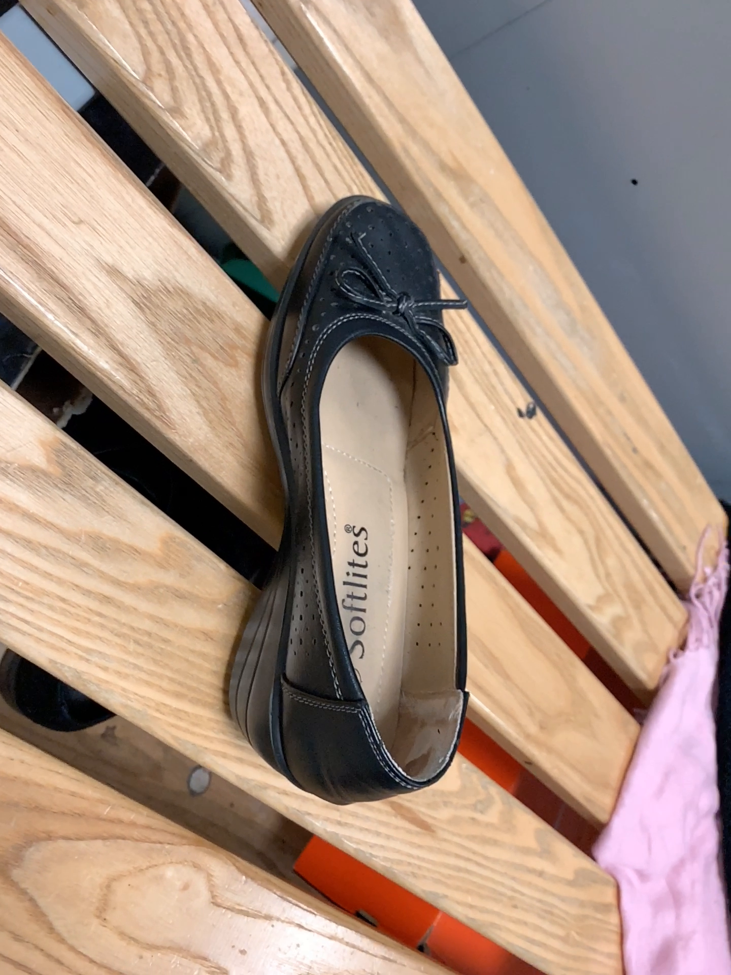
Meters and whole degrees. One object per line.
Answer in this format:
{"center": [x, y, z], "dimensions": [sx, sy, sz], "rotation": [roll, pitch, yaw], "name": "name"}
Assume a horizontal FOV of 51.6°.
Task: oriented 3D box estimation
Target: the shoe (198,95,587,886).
{"center": [0.015, 0.000, 0.322], "dimensions": [0.087, 0.109, 0.272], "rotation": [16, 75, -39], "name": "shoe"}
